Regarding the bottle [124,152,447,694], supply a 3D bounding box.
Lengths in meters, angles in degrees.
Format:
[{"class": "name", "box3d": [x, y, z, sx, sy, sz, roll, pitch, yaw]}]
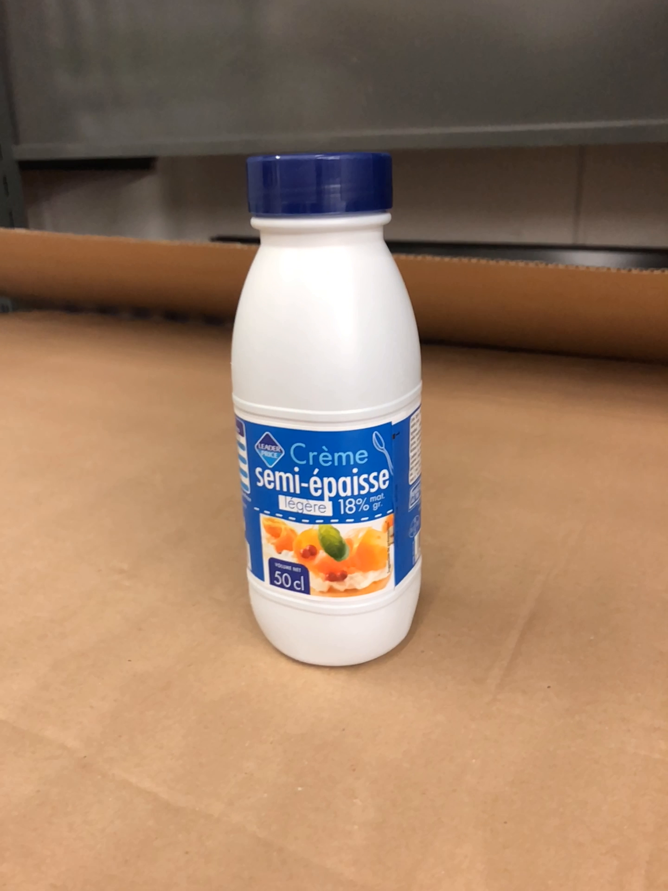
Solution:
[{"class": "bottle", "box3d": [-0.008, -0.013, 0.268, 0.080, 0.169, 0.080, -1, 20, 1]}]
